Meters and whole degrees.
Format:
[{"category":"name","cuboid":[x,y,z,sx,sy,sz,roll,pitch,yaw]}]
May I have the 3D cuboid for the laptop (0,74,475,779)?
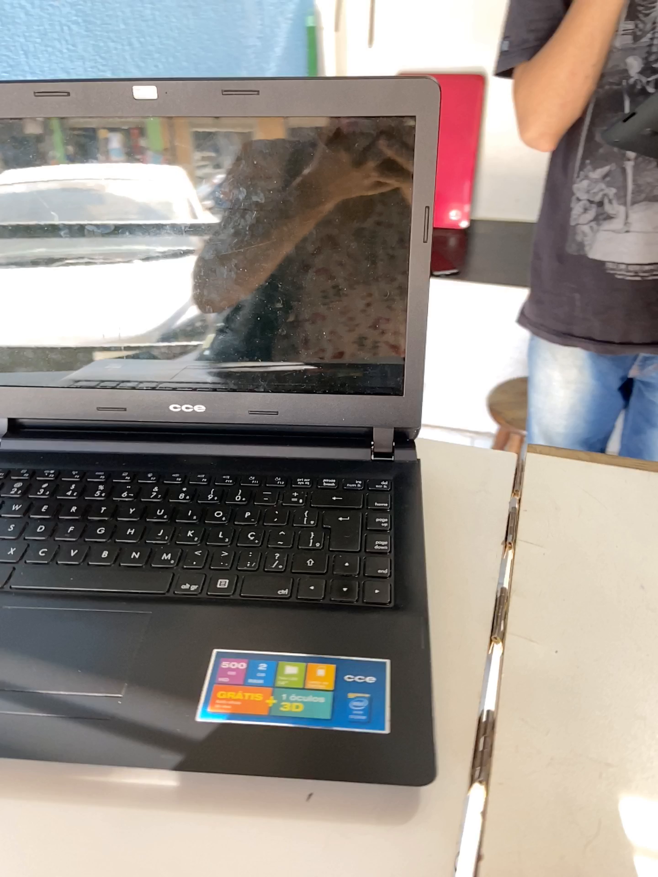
[{"category":"laptop","cuboid":[-0.108,-0.032,0.343,0.323,0.216,0.268,1,36,6]}]
